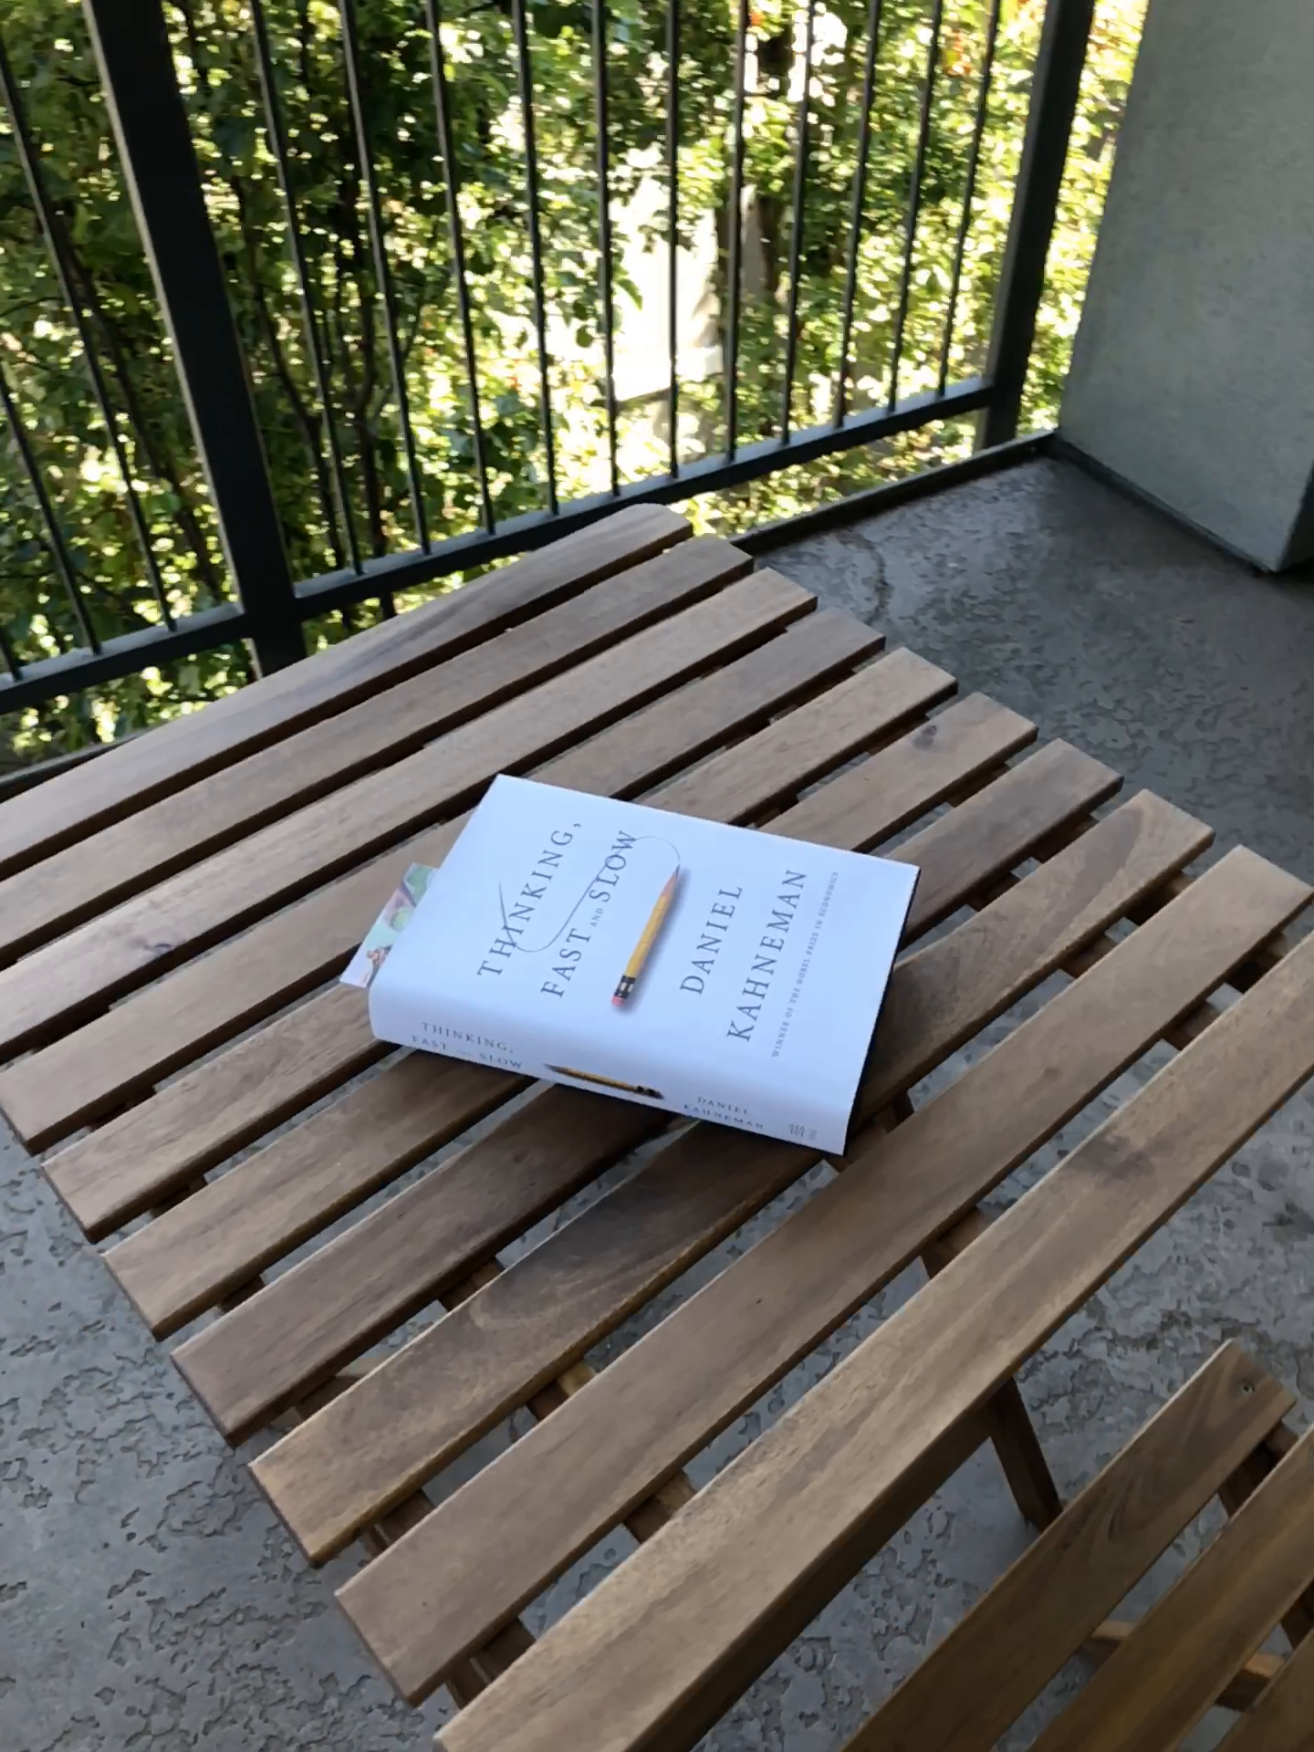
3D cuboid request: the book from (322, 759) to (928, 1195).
[{"bbox_3d":[-0.009,0.041,0.746,0.260,0.050,0.181,13,47,12],"label":"book"}]
